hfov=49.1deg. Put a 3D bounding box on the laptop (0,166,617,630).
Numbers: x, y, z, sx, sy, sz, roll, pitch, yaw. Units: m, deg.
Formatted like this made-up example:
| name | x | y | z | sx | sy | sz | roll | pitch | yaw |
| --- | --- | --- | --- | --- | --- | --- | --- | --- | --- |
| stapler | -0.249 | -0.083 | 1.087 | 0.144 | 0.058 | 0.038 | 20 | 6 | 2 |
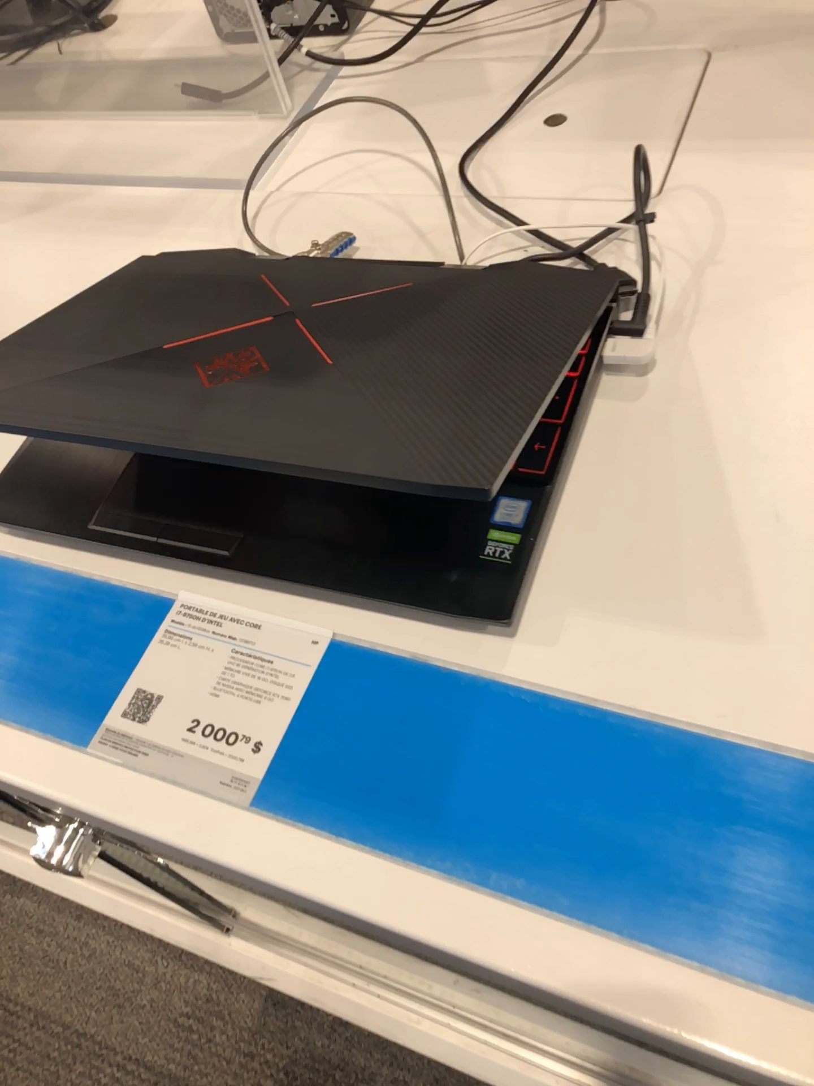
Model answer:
| name | x | y | z | sx | sy | sz | roll | pitch | yaw |
| --- | --- | --- | --- | --- | --- | --- | --- | --- | --- |
| laptop | -0.078 | -0.108 | 0.518 | 0.347 | 0.085 | 0.235 | 11 | 59 | 23 |
